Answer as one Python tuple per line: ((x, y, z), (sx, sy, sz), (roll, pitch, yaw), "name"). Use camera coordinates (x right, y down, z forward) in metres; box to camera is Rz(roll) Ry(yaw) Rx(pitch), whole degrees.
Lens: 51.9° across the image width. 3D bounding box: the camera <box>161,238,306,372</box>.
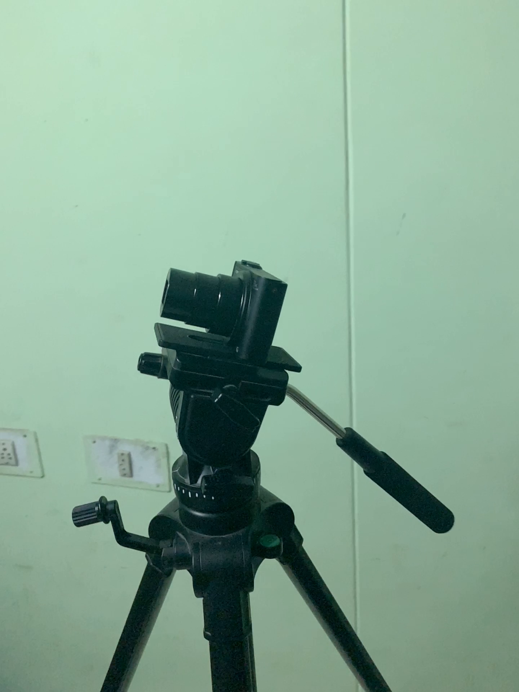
((-0.024, -0.031, 0.357), (0.067, 0.060, 0.102), (11, 12, -16), "camera")
